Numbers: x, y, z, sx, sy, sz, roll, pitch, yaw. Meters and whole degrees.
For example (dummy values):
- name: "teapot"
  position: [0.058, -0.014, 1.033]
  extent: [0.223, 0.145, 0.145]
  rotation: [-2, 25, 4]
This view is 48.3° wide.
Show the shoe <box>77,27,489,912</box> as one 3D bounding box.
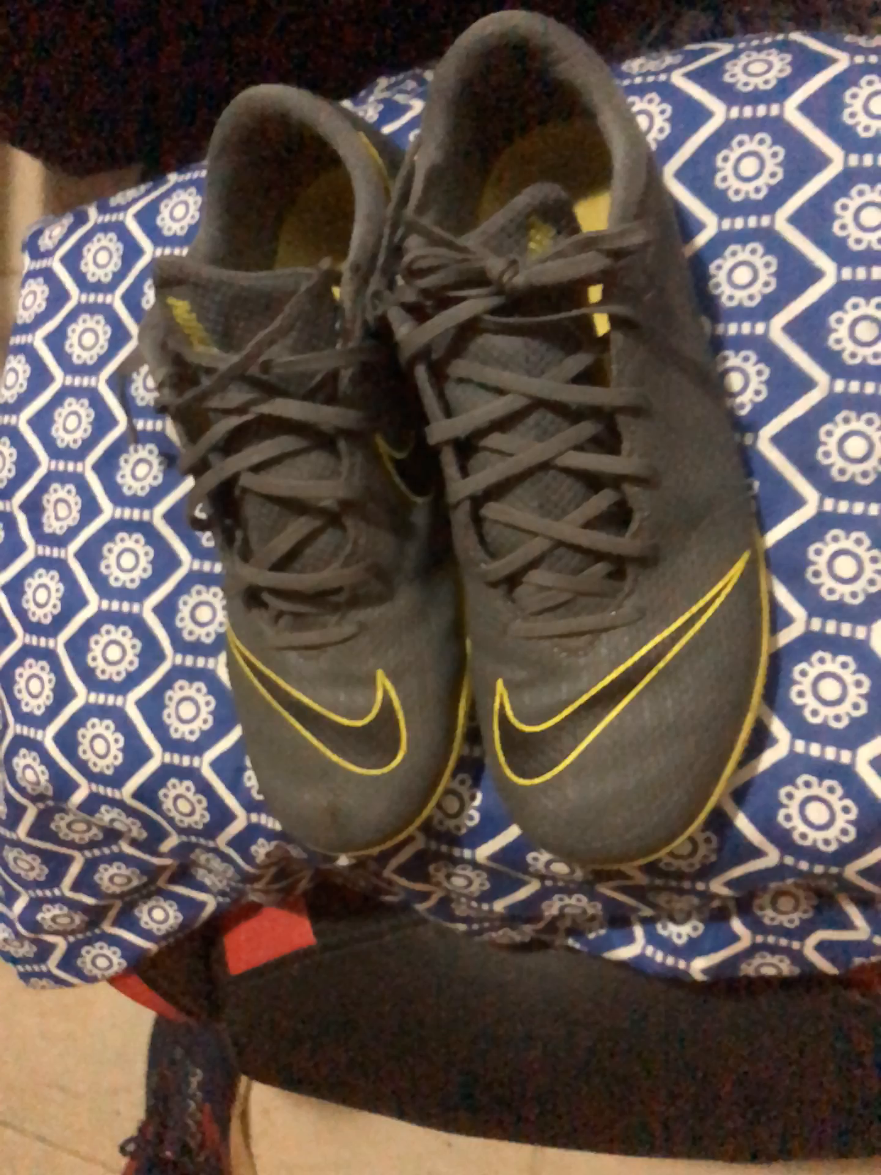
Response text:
- name: "shoe"
  position: [-0.049, -0.029, 0.318]
  extent: [0.090, 0.090, 0.240]
  rotation: [-6, 82, 21]

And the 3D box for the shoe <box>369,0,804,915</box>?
- name: "shoe"
  position: [0.045, -0.039, 0.288]
  extent: [0.090, 0.090, 0.240]
  rotation: [-6, 82, 21]
